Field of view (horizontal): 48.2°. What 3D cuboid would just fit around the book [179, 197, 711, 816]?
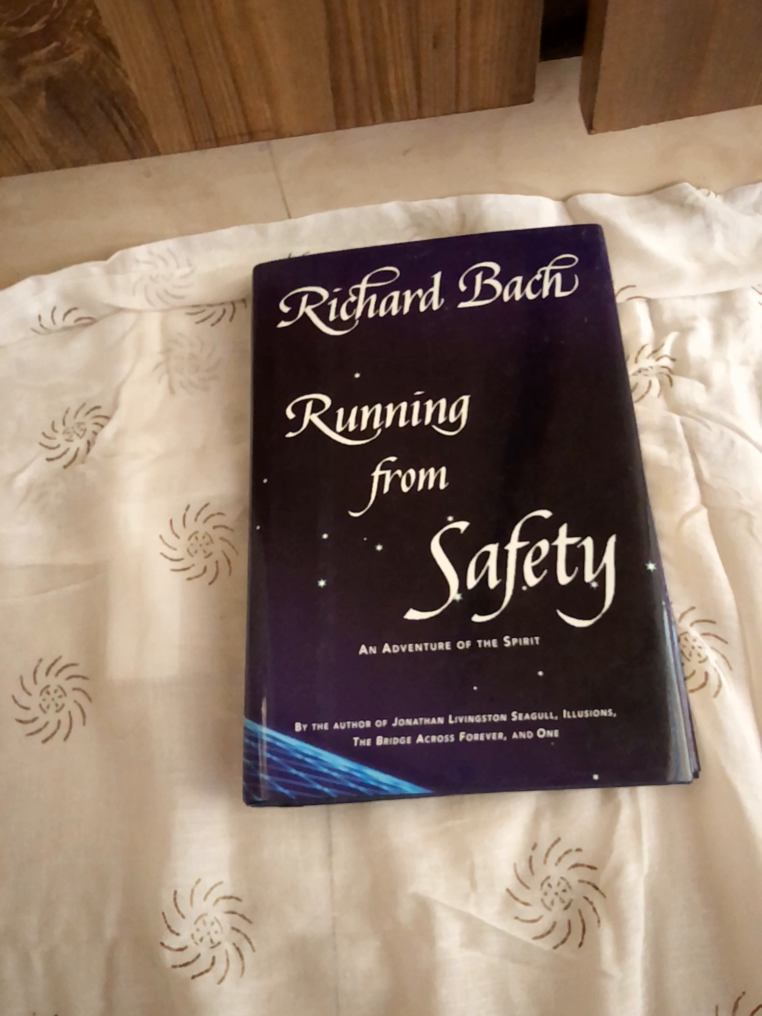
[{"bbox_3d":[0.017,-0.013,0.343,0.170,0.040,0.250,-2,65,0],"label":"book"}]
